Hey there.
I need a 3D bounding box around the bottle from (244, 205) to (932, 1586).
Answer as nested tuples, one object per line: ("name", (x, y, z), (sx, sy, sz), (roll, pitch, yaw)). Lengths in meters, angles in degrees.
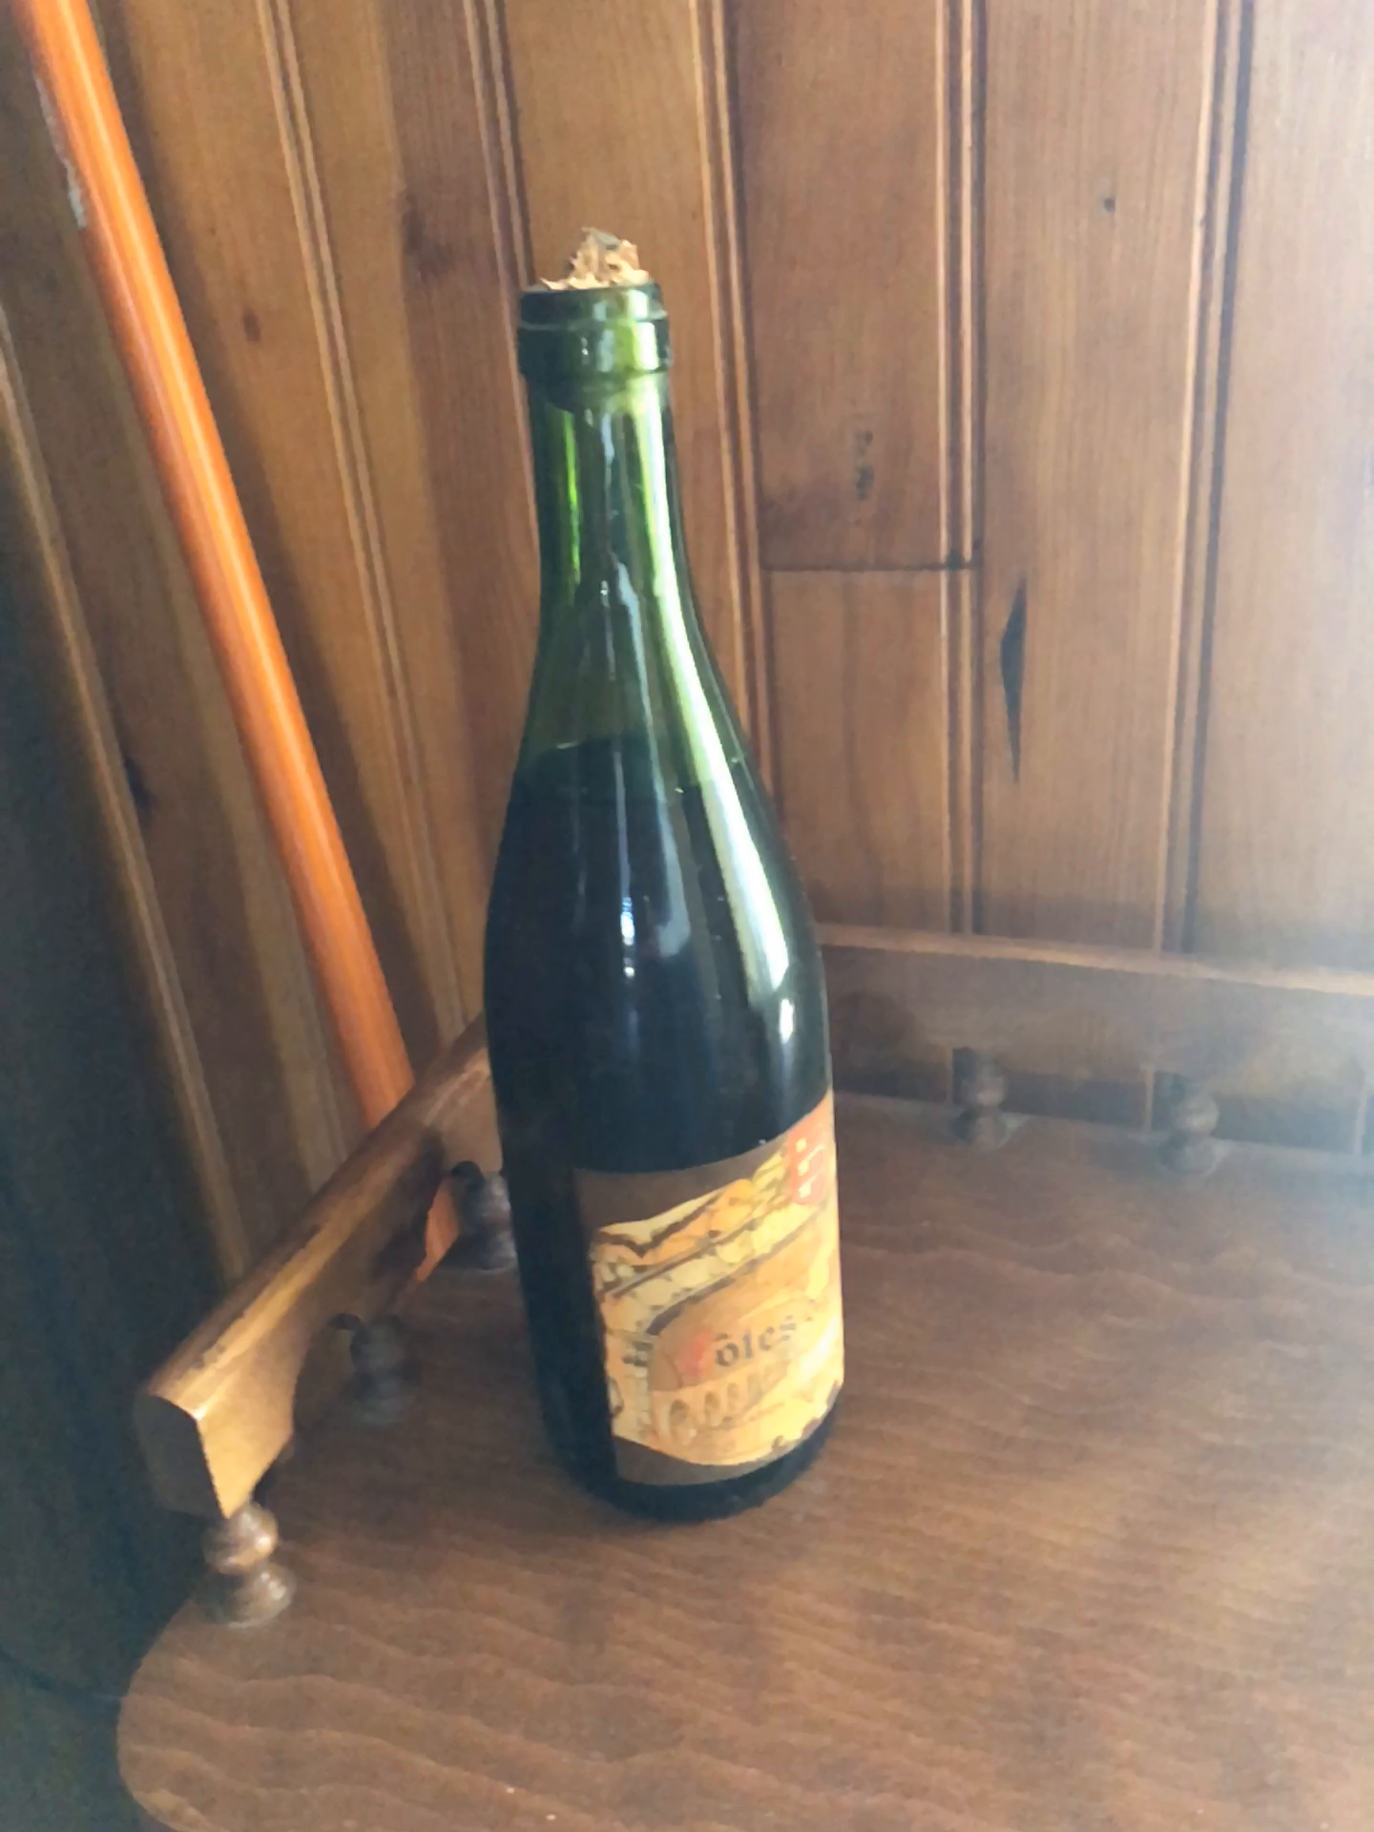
("bottle", (-0.005, 0.001, 0.338), (0.090, 0.278, 0.091), (-4, 26, 2))
